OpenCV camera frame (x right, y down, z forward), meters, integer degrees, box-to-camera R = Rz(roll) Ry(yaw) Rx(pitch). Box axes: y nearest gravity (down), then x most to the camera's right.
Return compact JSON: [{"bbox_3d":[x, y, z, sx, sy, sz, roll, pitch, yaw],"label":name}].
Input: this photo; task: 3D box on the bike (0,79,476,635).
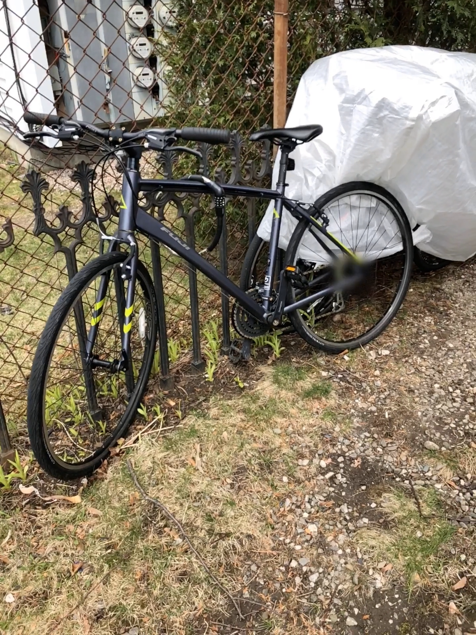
[{"bbox_3d":[0.167,-0.154,2.027,0.678,1.346,2.202,25,36,35],"label":"bike"}]
